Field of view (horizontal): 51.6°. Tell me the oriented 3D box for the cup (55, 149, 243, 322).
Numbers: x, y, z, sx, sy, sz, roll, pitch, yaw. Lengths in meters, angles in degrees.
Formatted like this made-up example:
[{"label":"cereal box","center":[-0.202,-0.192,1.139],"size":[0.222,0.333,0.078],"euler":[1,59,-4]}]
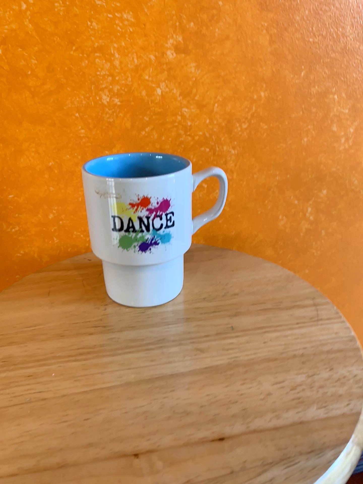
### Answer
[{"label":"cup","center":[-0.023,-0.009,0.300],"size":[0.120,0.109,0.080],"euler":[-3,24,-5]}]
